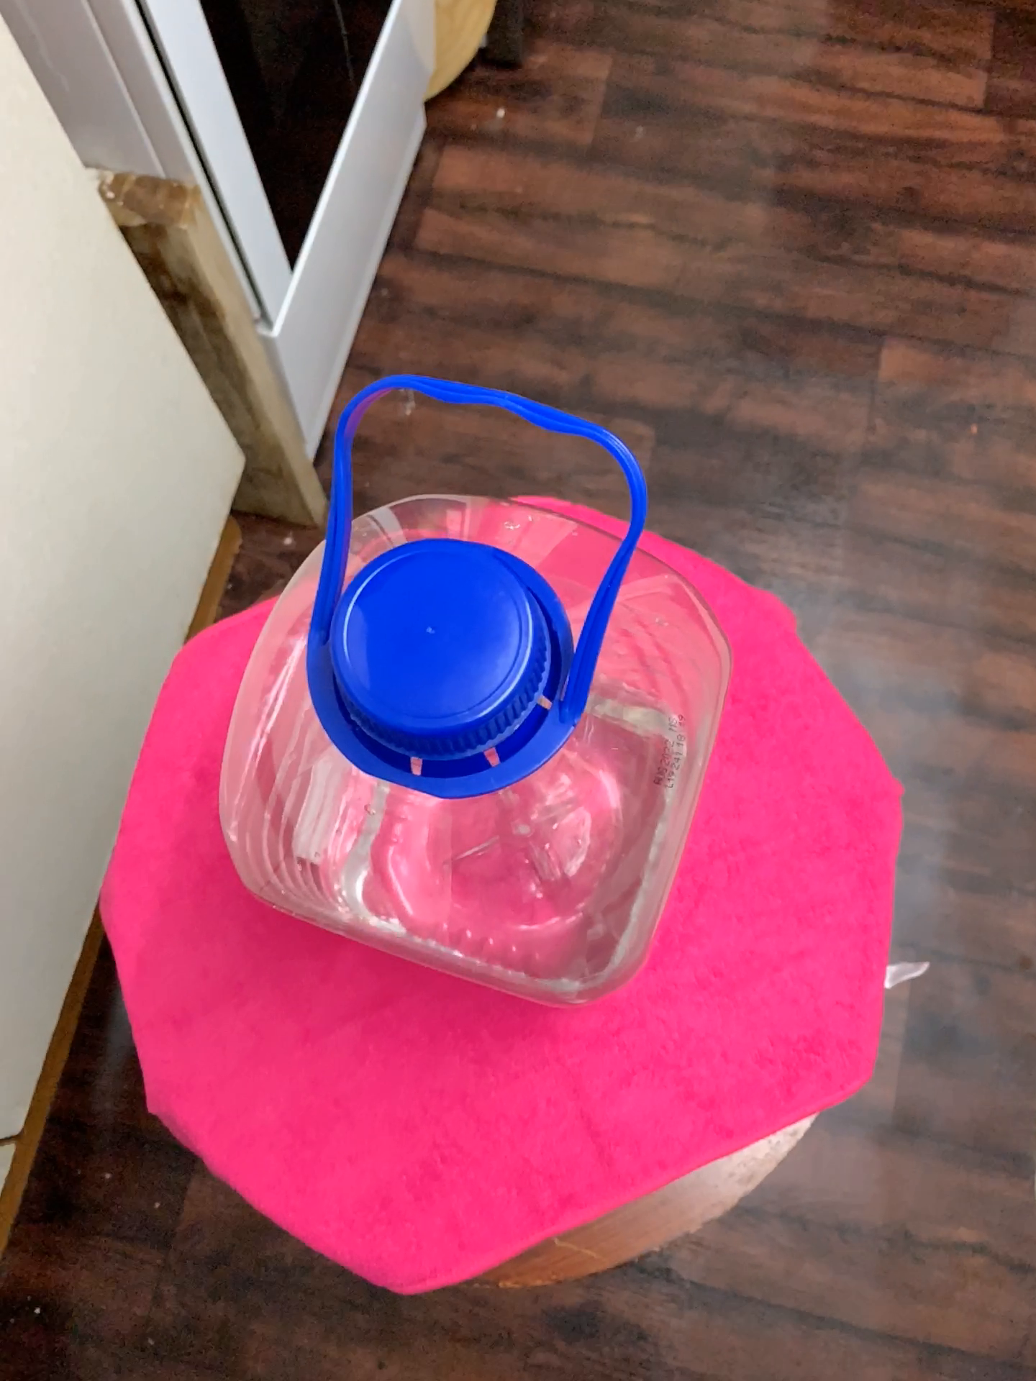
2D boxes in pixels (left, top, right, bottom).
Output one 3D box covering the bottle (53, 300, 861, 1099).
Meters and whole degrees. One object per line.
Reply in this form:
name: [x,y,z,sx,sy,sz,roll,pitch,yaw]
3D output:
bottle: [-0.005,0.036,0.397,0.140,0.329,0.150,0,74,1]
